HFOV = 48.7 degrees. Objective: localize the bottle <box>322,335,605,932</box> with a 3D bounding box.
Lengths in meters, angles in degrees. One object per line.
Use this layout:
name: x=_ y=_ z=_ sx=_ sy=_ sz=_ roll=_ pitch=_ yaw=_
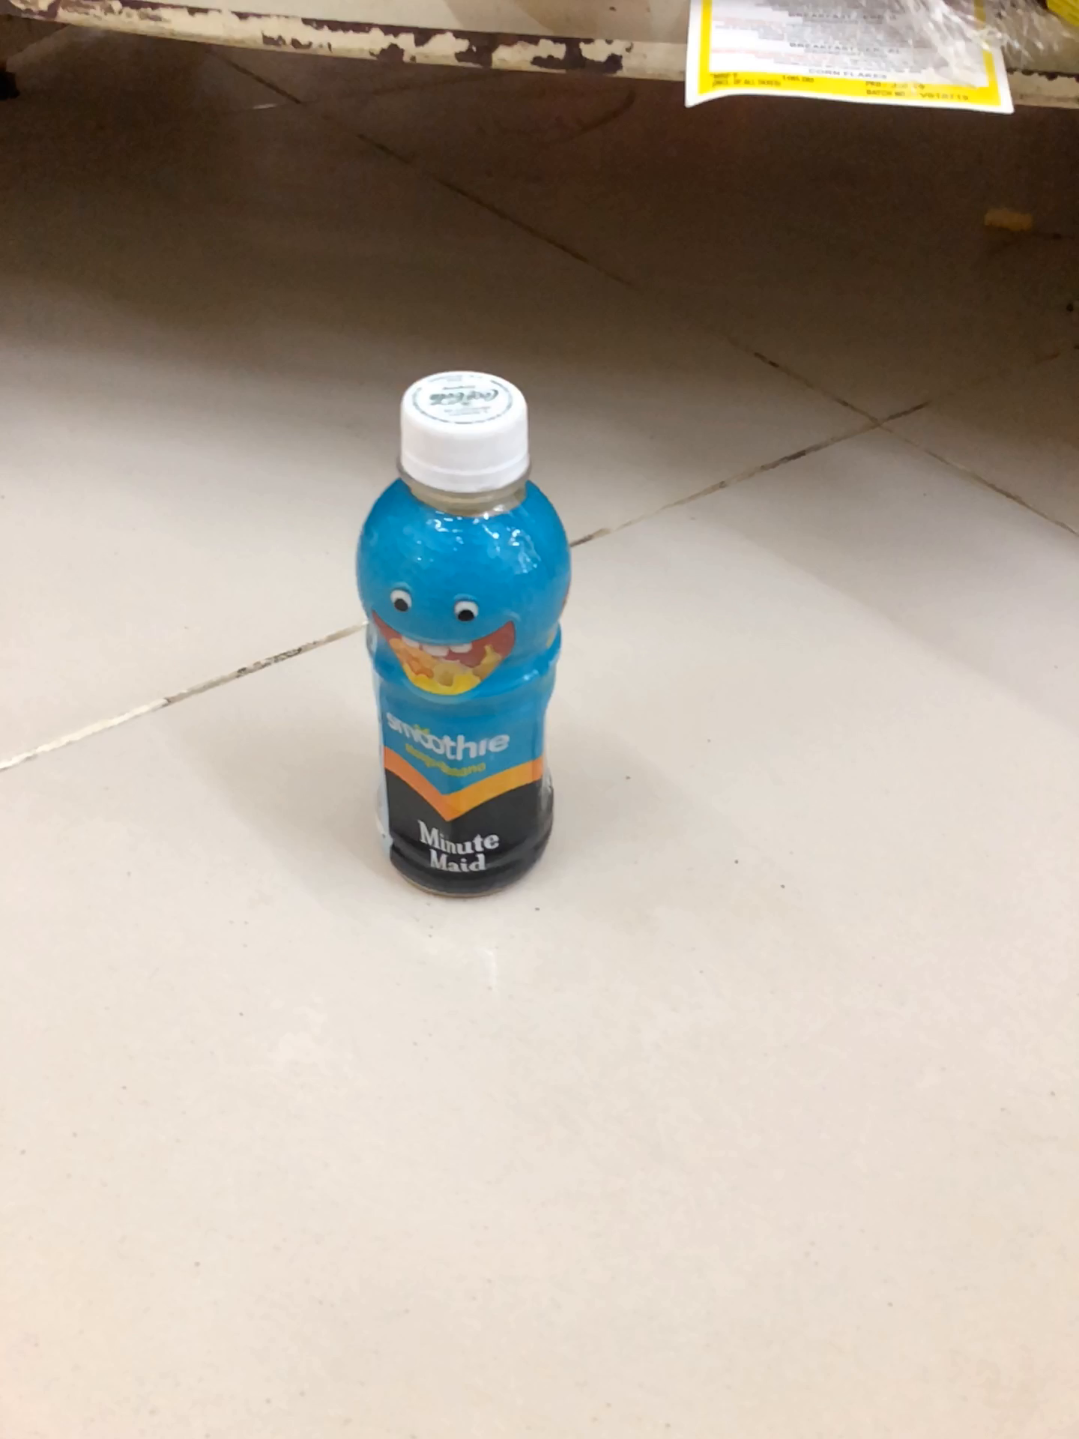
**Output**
bottle: x=-0.019 y=-0.017 z=0.337 sx=0.060 sy=0.159 sz=0.060 roll=2 pitch=41 yaw=-2
